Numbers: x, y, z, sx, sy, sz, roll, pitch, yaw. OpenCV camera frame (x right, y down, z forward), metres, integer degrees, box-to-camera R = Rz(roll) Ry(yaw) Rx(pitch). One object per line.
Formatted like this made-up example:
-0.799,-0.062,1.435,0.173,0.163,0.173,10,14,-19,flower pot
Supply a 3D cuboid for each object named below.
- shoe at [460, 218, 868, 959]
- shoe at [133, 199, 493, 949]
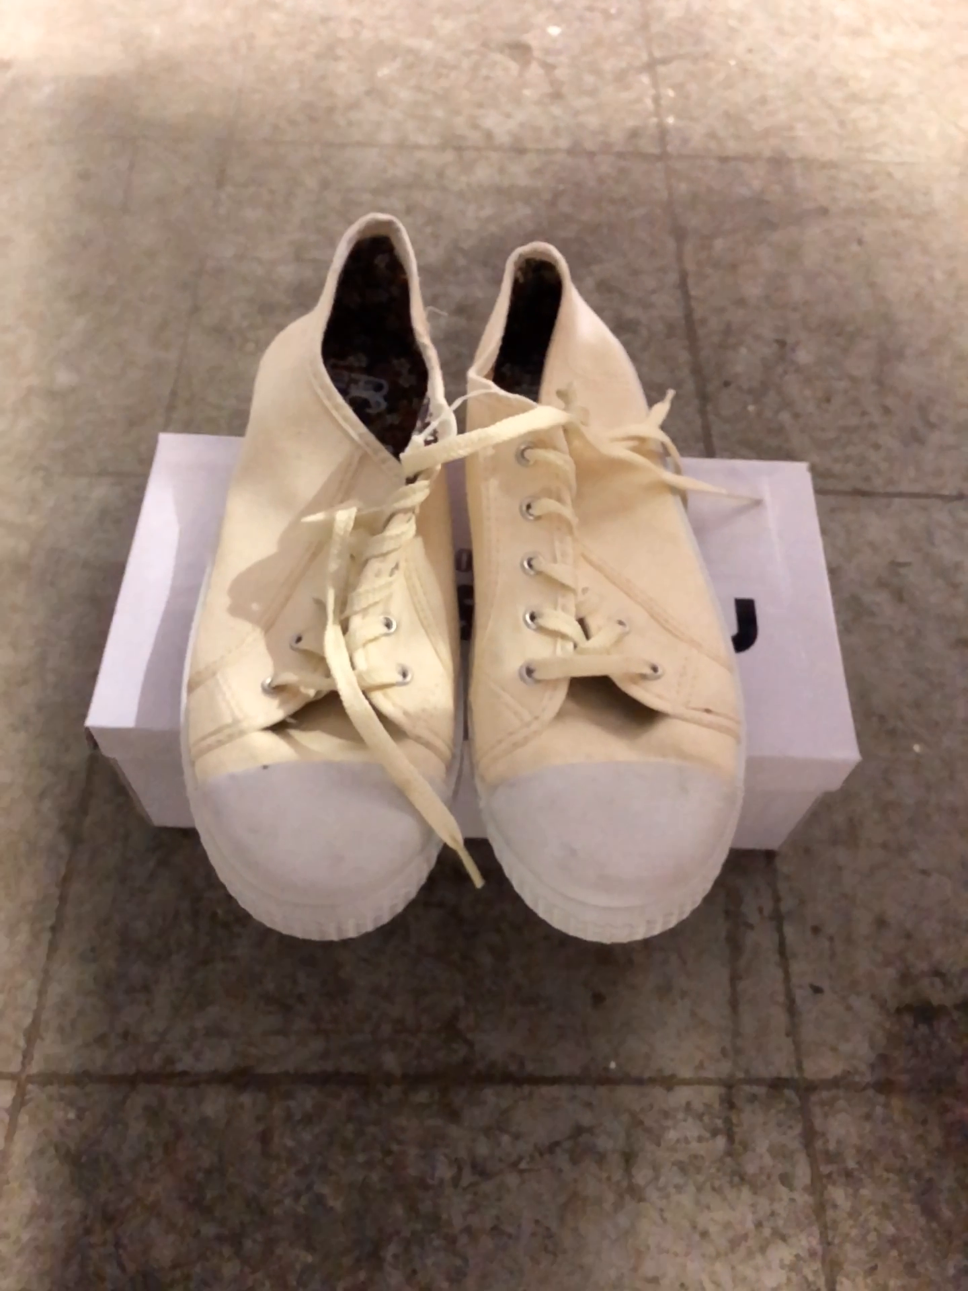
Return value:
0.044,-0.031,0.367,0.100,0.080,0.252,1,58,-2,shoe
-0.044,-0.037,0.373,0.090,0.080,0.262,1,58,-2,shoe
